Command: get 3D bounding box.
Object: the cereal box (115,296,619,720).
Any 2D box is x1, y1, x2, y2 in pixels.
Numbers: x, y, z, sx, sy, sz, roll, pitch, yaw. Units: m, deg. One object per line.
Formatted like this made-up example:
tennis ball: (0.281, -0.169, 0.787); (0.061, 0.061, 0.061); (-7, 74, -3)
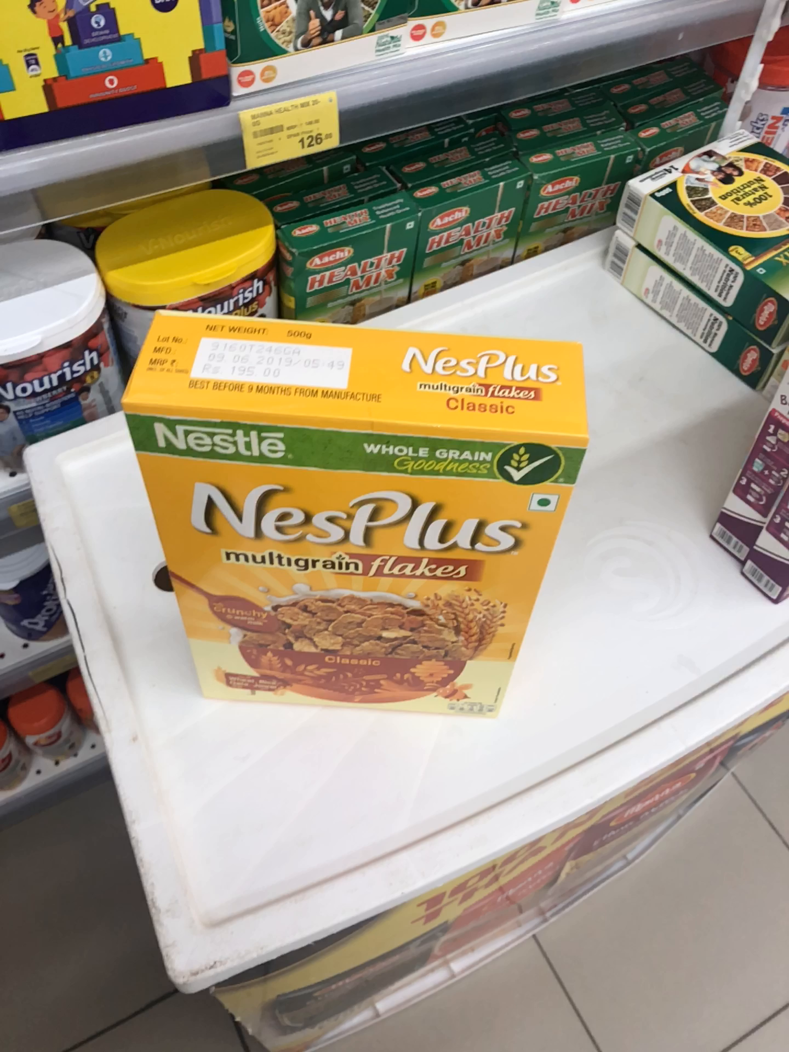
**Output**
cereal box: (-0.015, 0.012, 0.476); (0.200, 0.269, 0.070); (3, 54, -1)
